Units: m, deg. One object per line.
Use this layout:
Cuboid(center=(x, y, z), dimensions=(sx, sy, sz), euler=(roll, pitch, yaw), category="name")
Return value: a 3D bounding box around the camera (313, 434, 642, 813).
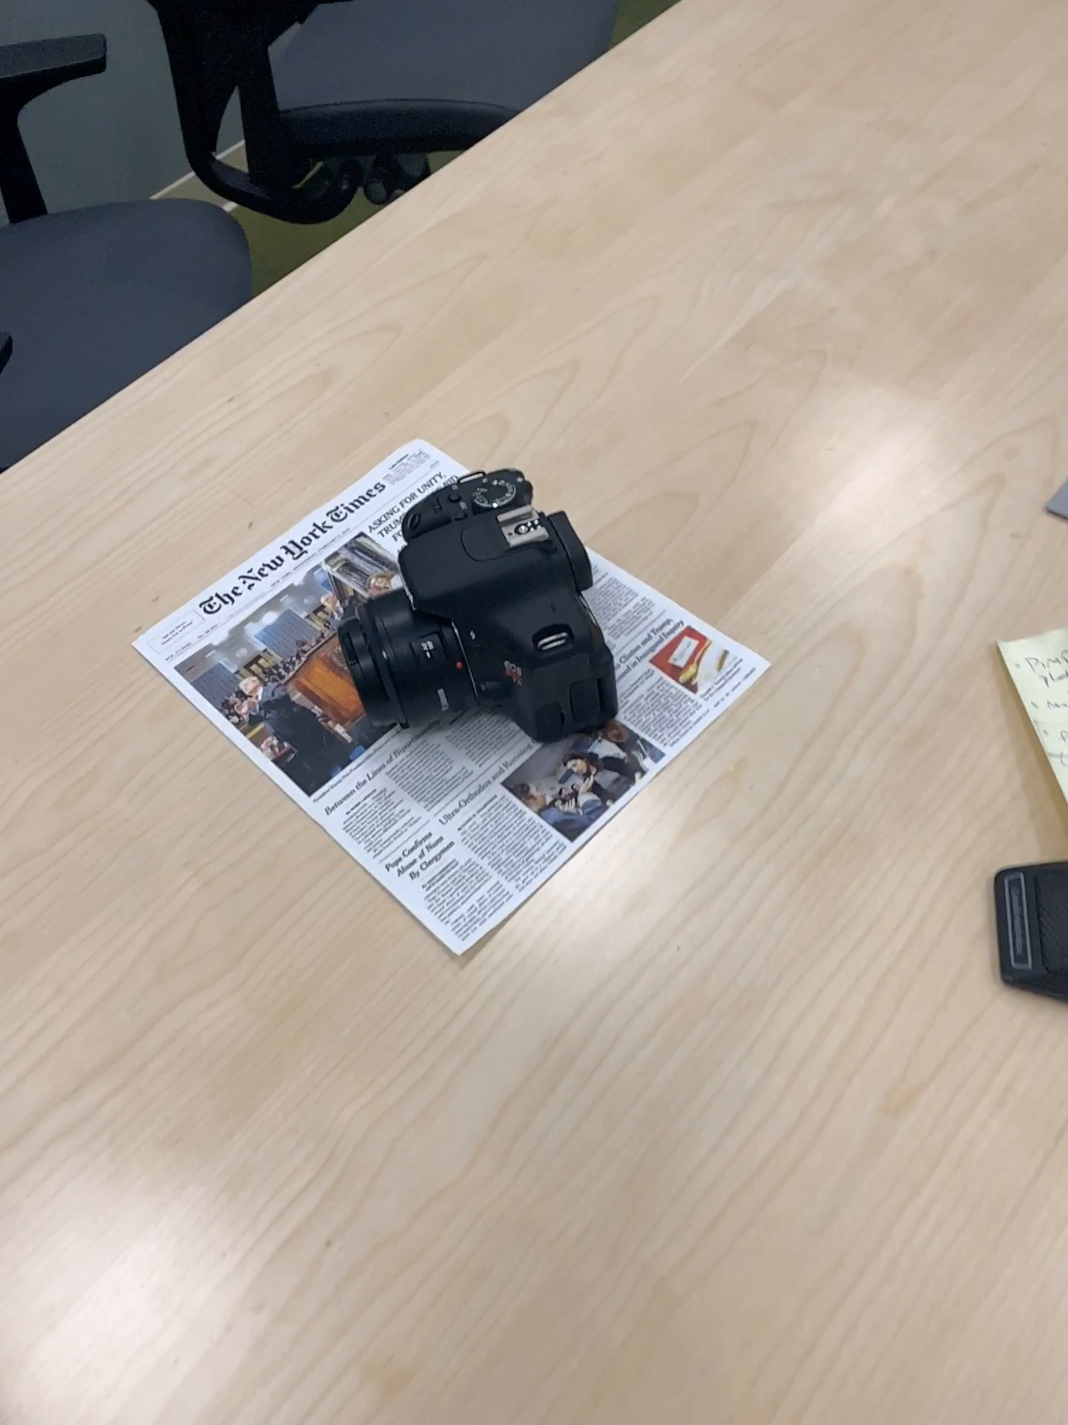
Cuboid(center=(-0.027, -0.044, 0.544), dimensions=(0.121, 0.100, 0.125), euler=(-18, 54, -5), category="camera")
